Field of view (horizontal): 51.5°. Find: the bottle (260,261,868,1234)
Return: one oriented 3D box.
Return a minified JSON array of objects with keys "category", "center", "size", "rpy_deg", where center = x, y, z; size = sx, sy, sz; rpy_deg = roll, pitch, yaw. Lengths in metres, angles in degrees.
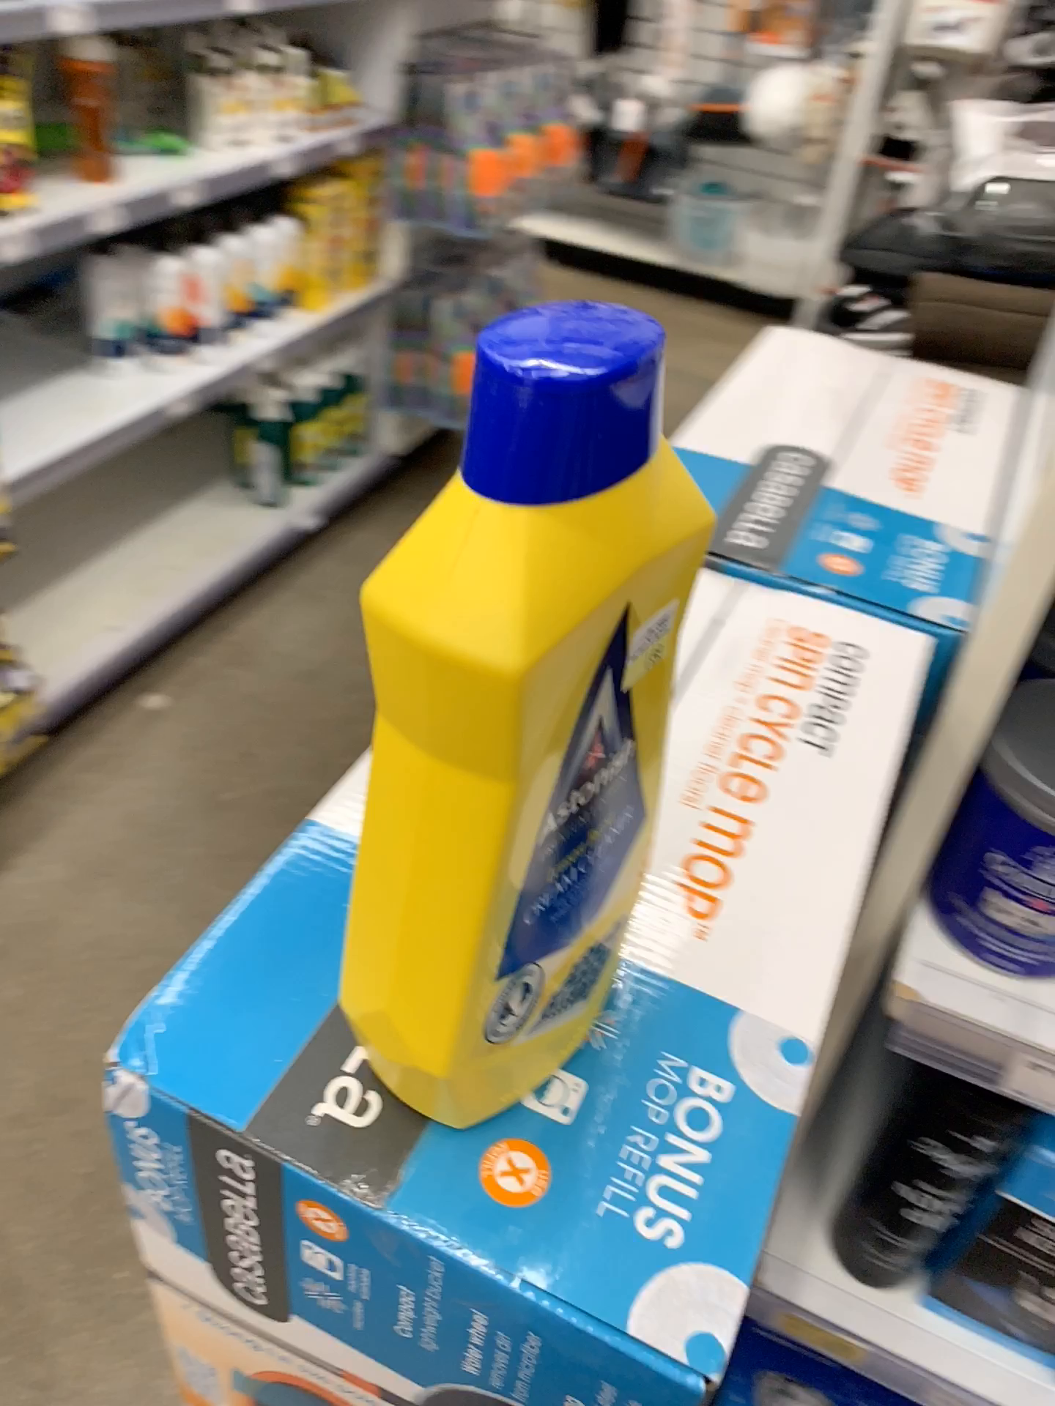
[{"category":"bottle","center":[0.003,0.016,0.246],"size":[0.060,0.189,0.100],"rpy_deg":[27,43,23]}]
